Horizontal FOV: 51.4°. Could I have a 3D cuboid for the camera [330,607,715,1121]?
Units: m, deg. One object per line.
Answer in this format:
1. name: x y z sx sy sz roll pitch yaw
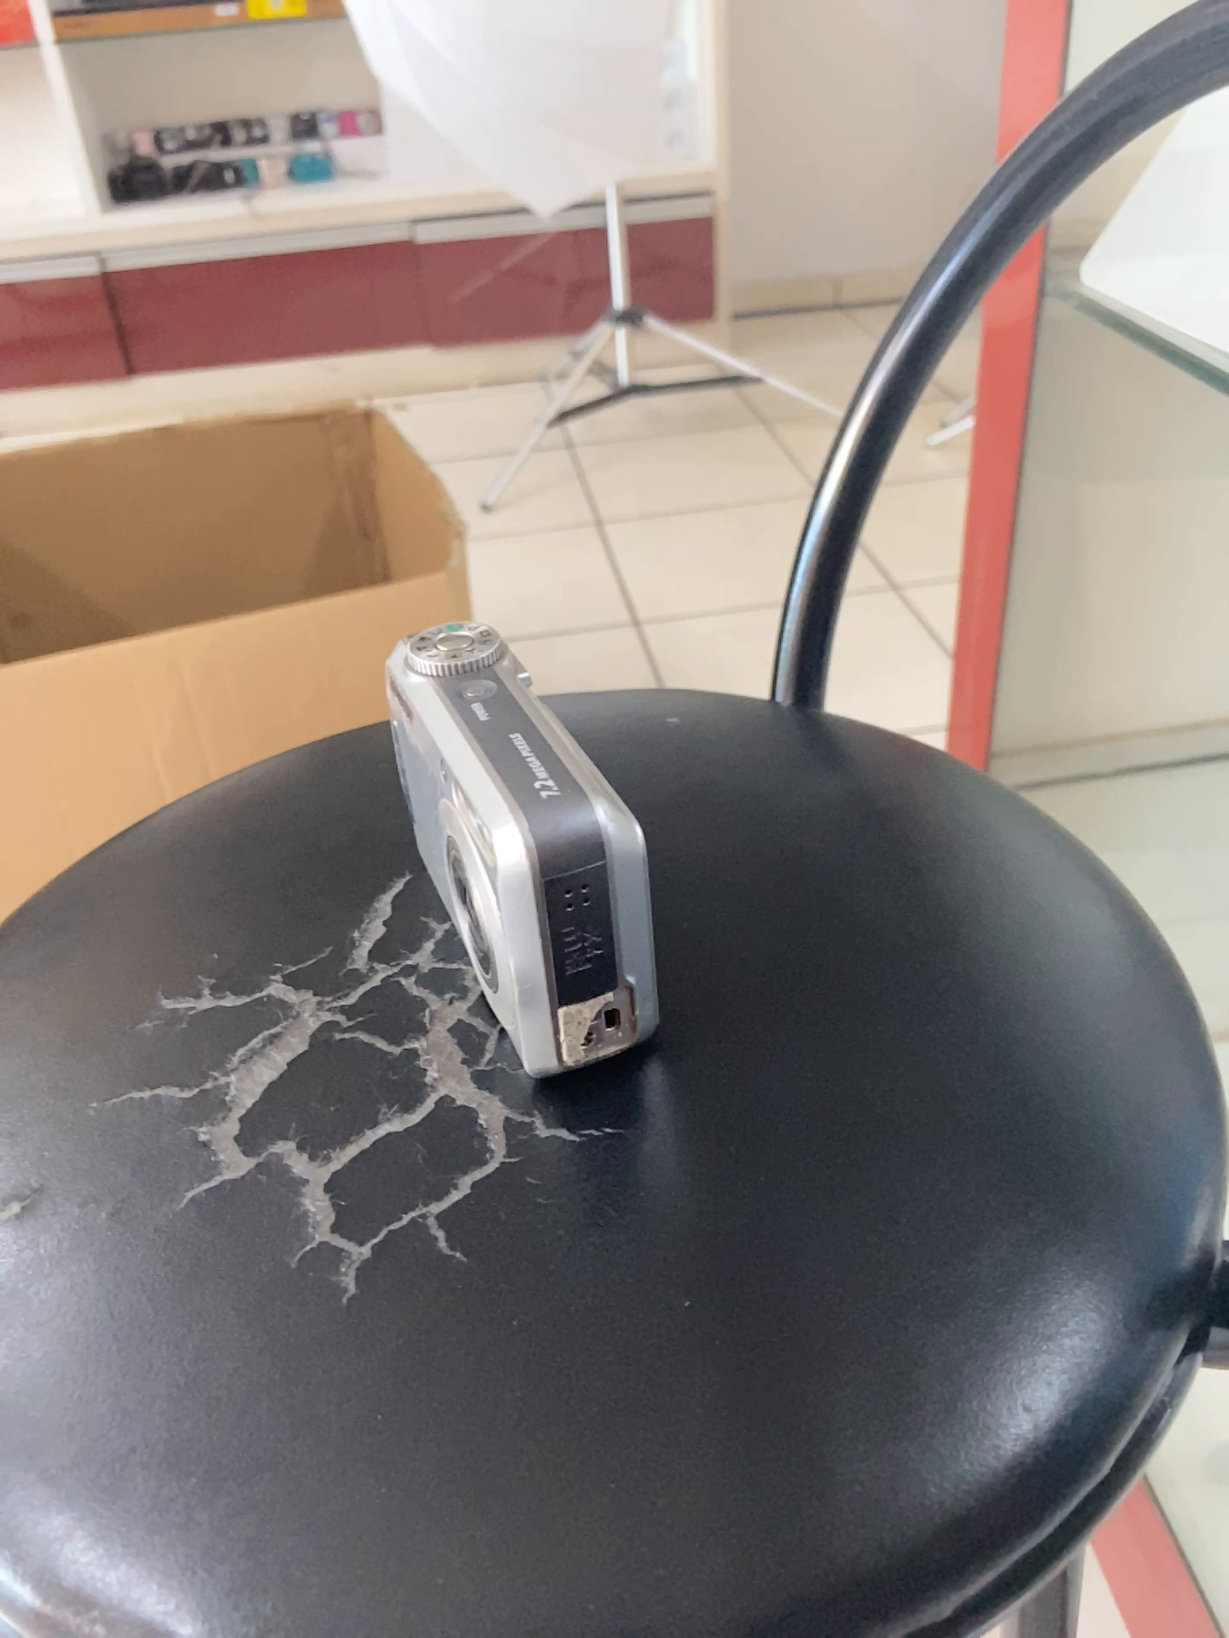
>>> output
1. camera: -0.022 0.003 0.259 0.040 0.050 0.100 -17 36 -17
